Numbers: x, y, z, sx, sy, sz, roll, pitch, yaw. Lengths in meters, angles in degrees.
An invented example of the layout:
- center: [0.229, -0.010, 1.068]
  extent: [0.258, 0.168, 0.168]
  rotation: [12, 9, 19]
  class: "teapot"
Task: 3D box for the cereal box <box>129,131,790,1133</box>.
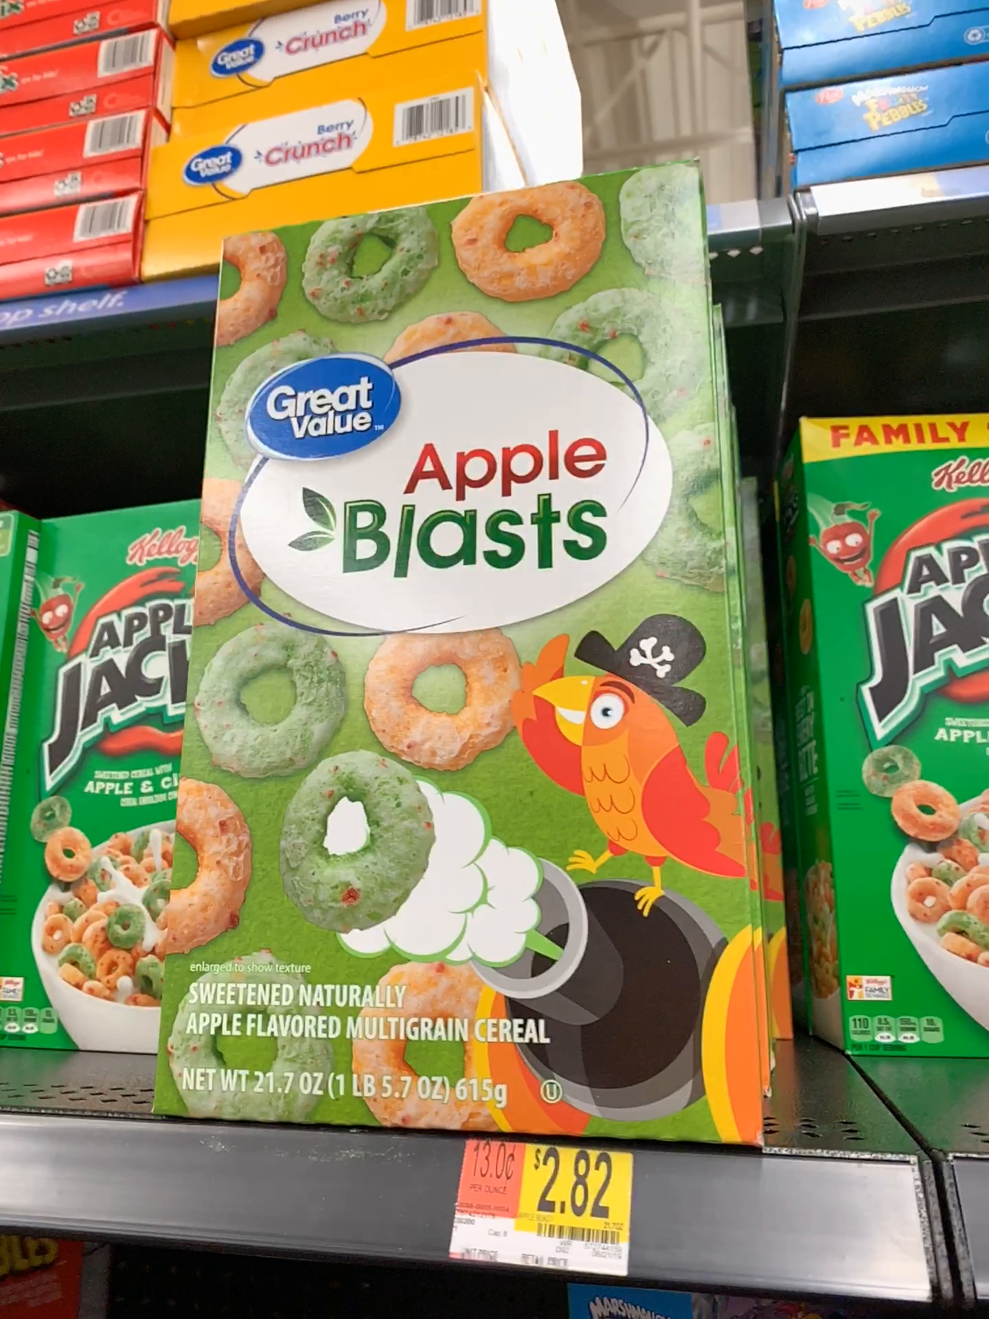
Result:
- center: [-0.005, -0.013, 0.392]
  extent: [0.200, 0.331, 0.100]
  rotation: [-3, -16, 12]
  class: "cereal box"
